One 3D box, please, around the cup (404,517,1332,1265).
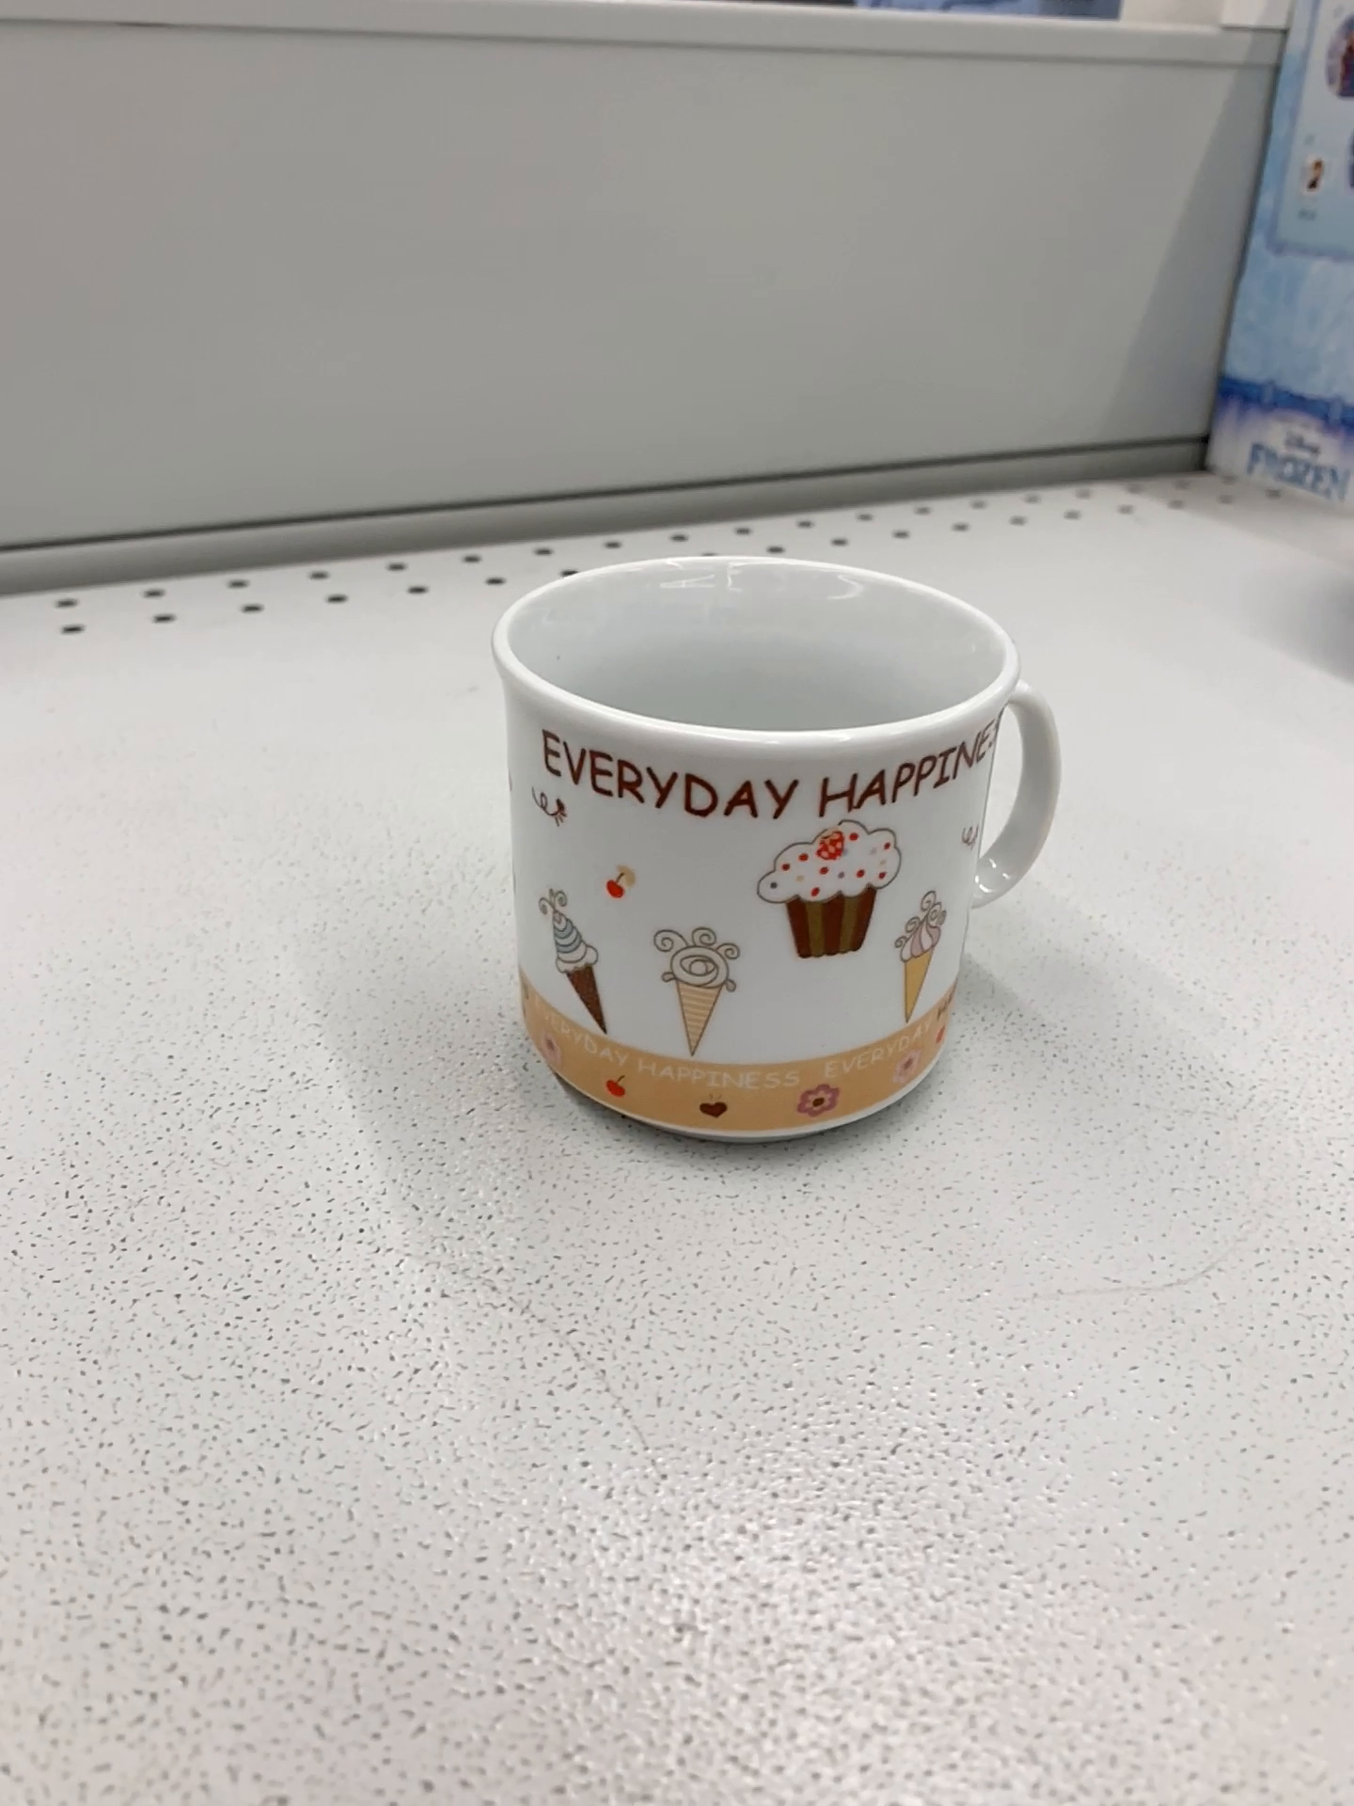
[{"bbox_3d":[0.023,-0.011,0.222,0.109,0.069,0.079,-12,33,-21],"label":"cup"}]
